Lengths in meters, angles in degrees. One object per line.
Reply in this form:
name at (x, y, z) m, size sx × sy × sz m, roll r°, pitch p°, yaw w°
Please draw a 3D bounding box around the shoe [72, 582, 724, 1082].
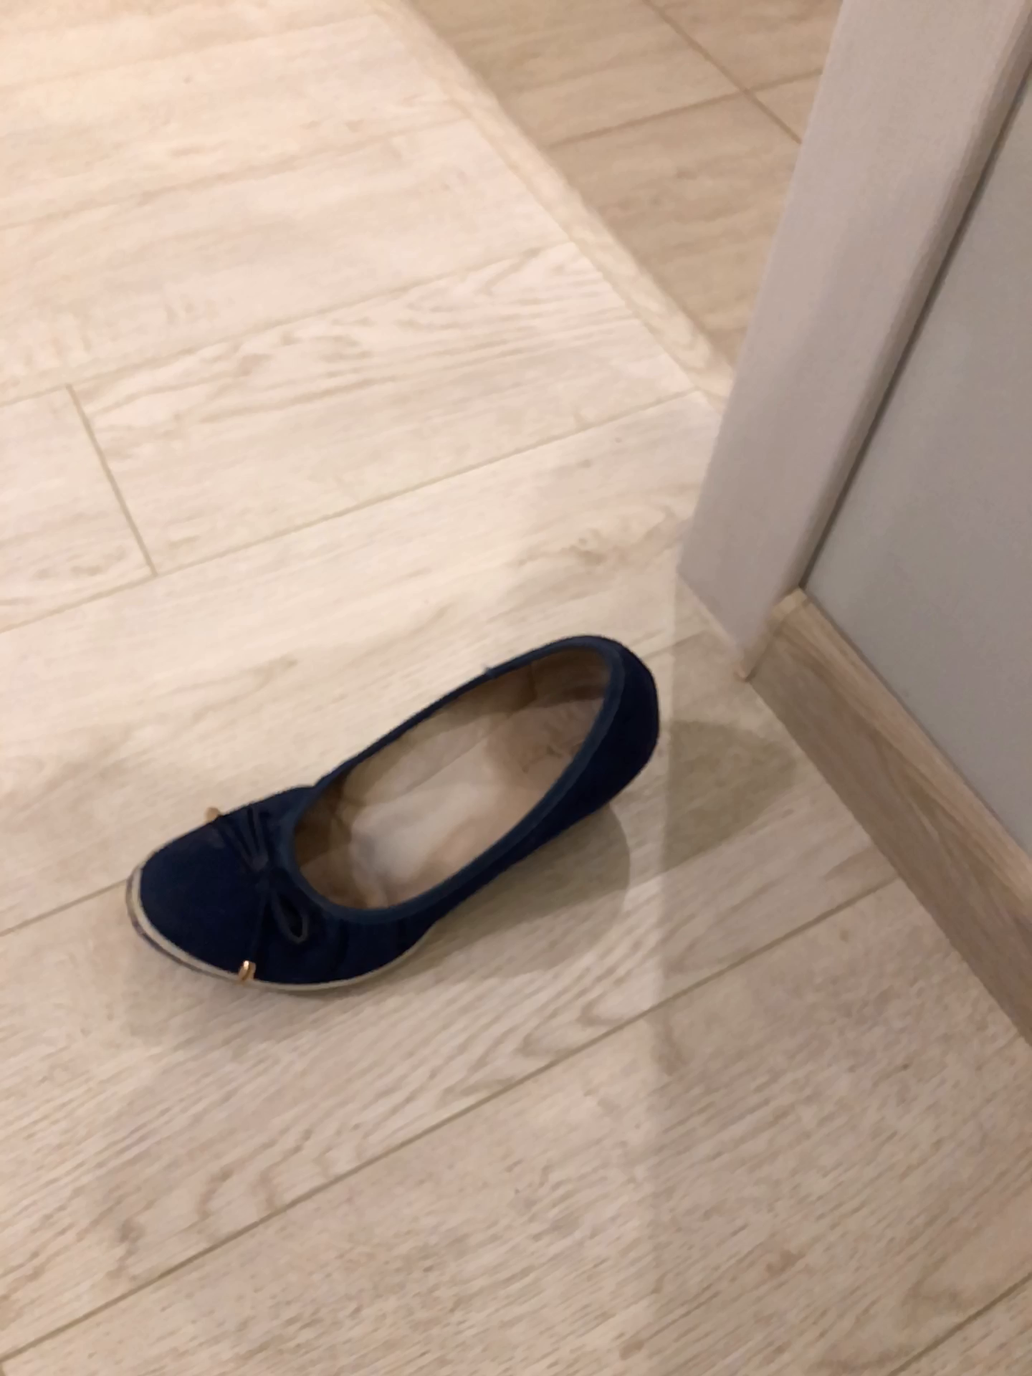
shoe at (-0.046, 0.059, 0.489) m, size 0.230 × 0.109 × 0.099 m, roll -20°, pitch 61°, yaw -16°
